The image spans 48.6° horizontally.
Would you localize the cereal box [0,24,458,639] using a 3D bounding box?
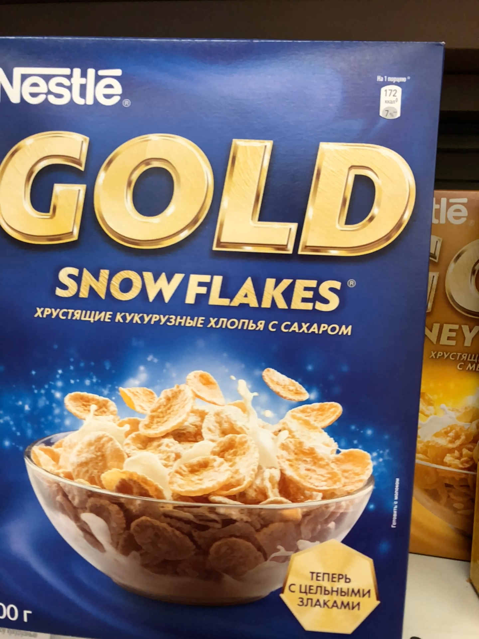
[{"bbox_3d":[-0.018,0.014,0.247,0.200,0.270,0.050,3,4,5],"label":"cereal box"}]
